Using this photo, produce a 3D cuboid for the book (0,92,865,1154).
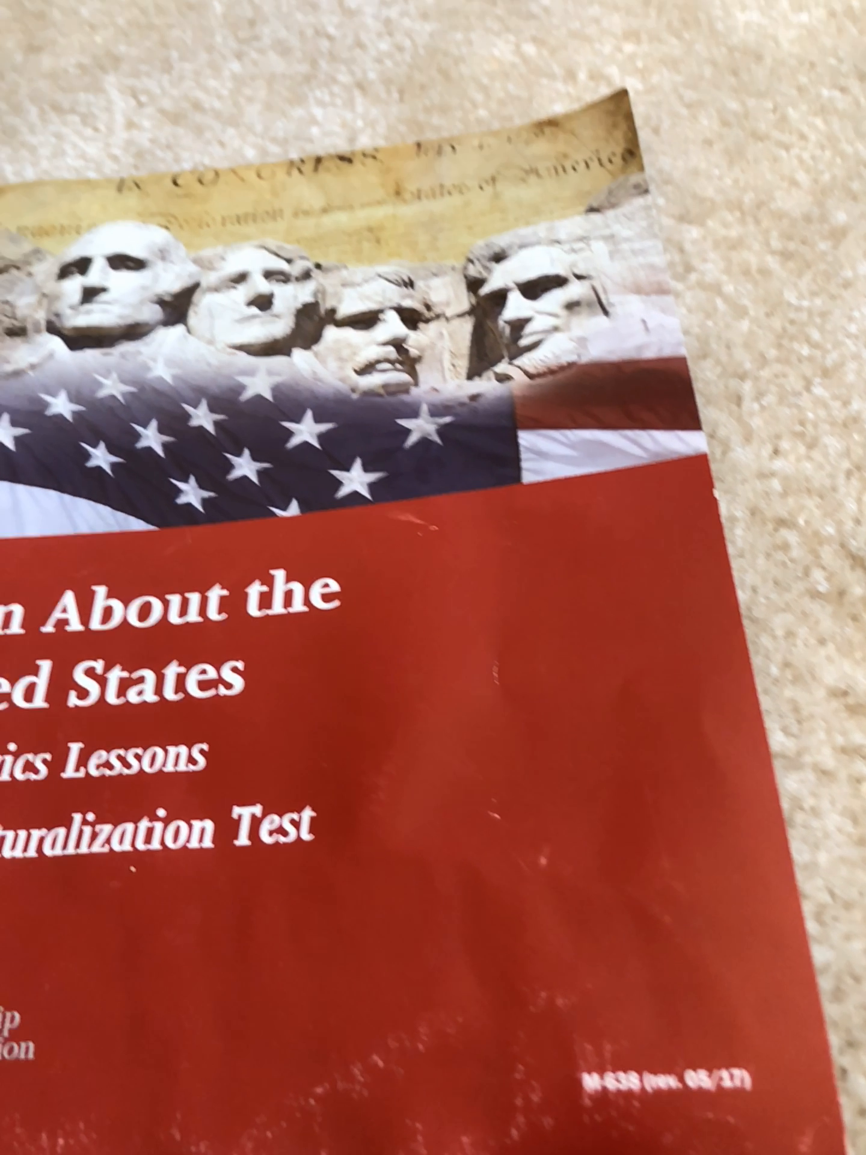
[{"bbox_3d":[-0.036,-0.011,0.235,0.208,0.028,0.274,-6,57,7],"label":"book"}]
